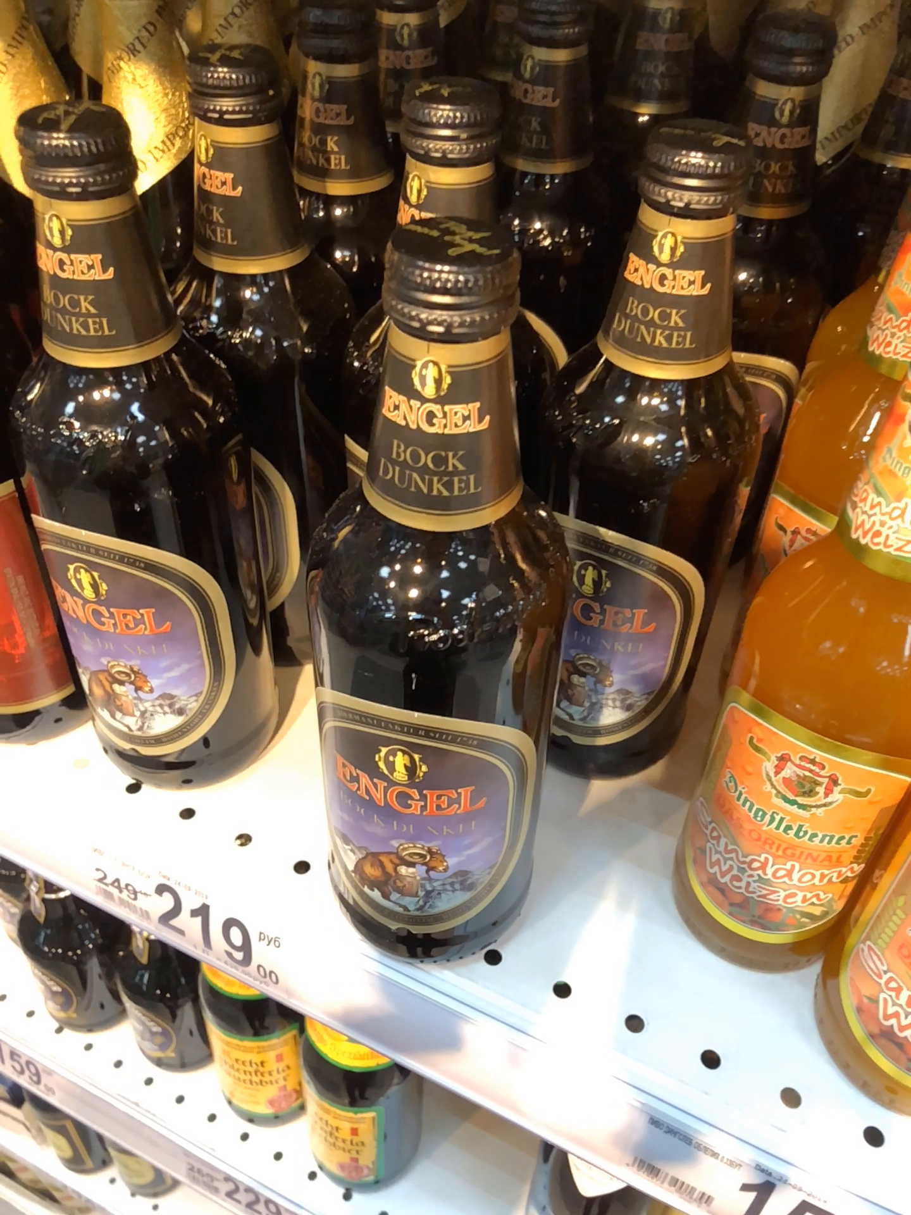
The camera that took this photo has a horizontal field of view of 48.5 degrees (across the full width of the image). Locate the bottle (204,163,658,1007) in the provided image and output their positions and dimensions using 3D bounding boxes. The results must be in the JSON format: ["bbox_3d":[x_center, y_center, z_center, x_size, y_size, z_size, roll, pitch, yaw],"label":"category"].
[{"bbox_3d":[-0.006,0.014,0.272,0.070,0.229,0.061,16,44,14],"label":"bottle"}]

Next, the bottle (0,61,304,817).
[{"bbox_3d":[-0.102,-0.036,0.327,0.070,0.232,0.061,16,44,14],"label":"bottle"}]

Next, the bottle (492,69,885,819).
[{"bbox_3d":[0.065,-0.038,0.337,0.069,0.232,0.070,1,43,-1],"label":"bottle"}]
